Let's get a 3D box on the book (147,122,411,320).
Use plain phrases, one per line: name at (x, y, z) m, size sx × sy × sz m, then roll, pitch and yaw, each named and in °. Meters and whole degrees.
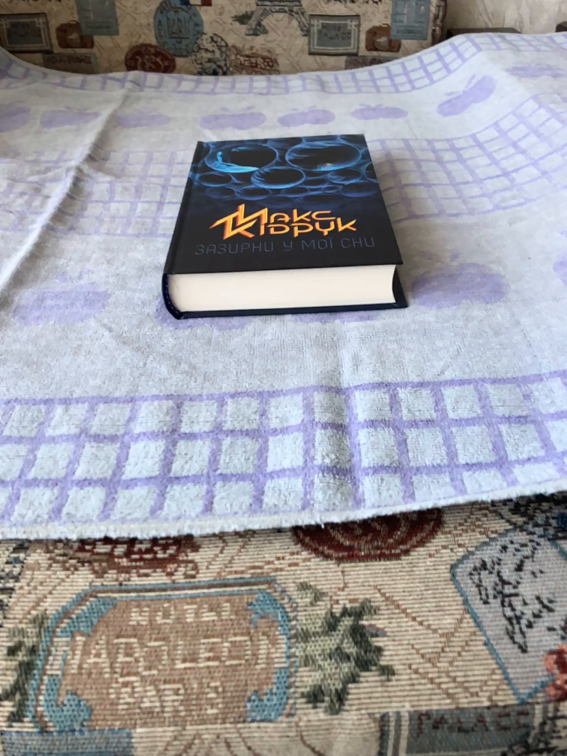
book at (-0.002, -0.119, 0.427) m, size 0.140 × 0.035 × 0.222 m, roll -2°, pitch 39°, yaw 2°
